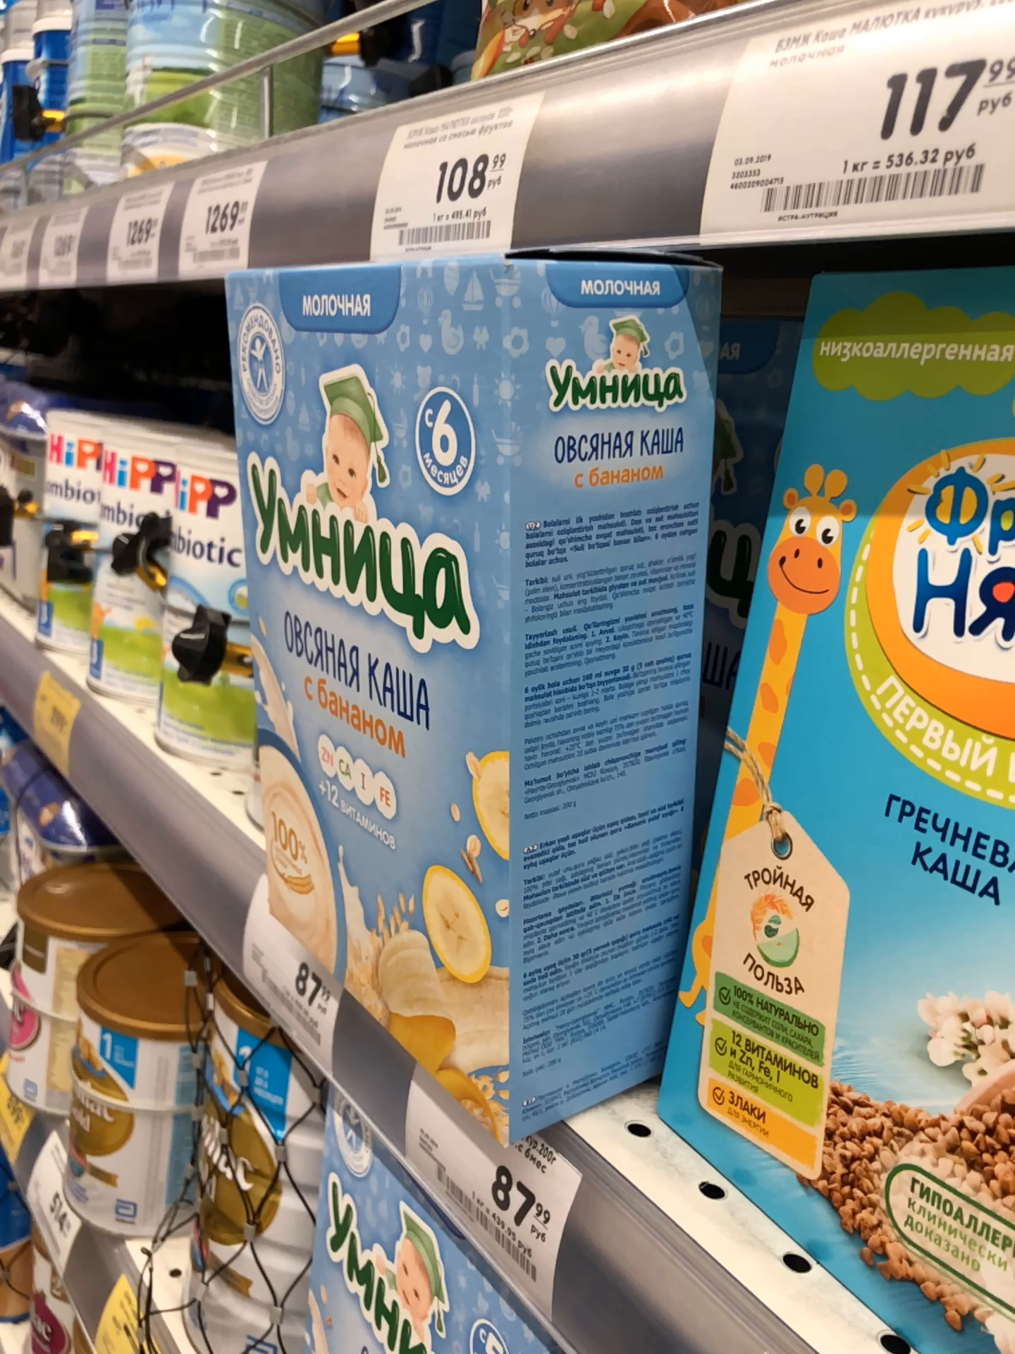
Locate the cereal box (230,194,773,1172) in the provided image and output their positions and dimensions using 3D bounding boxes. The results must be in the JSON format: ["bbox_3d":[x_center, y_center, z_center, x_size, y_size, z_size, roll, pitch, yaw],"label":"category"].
[{"bbox_3d":[-0.011,-0.009,0.308,0.060,0.209,0.150,-11,19,-33],"label":"cereal box"}]
